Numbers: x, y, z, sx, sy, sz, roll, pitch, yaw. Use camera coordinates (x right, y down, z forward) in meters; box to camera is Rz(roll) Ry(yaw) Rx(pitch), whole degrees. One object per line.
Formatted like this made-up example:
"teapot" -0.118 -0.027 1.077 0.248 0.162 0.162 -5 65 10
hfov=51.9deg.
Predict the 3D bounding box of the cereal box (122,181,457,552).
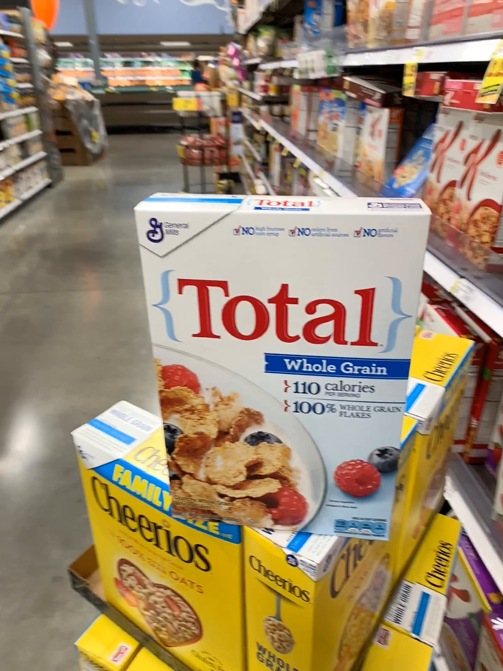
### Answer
"cereal box" 0.027 0.035 0.413 0.210 0.298 0.050 3 27 9
